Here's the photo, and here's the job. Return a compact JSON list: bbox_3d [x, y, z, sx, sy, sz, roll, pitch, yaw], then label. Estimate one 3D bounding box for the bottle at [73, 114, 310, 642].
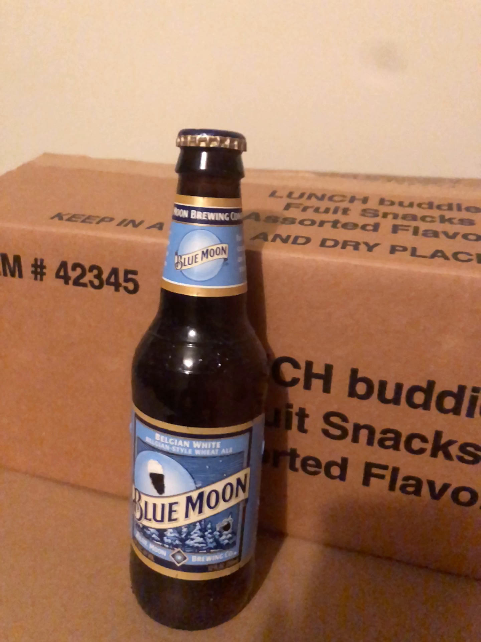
[{"bbox_3d":[-0.016,0.028,0.225,0.070,0.209,0.060,5,19,10],"label":"bottle"}]
